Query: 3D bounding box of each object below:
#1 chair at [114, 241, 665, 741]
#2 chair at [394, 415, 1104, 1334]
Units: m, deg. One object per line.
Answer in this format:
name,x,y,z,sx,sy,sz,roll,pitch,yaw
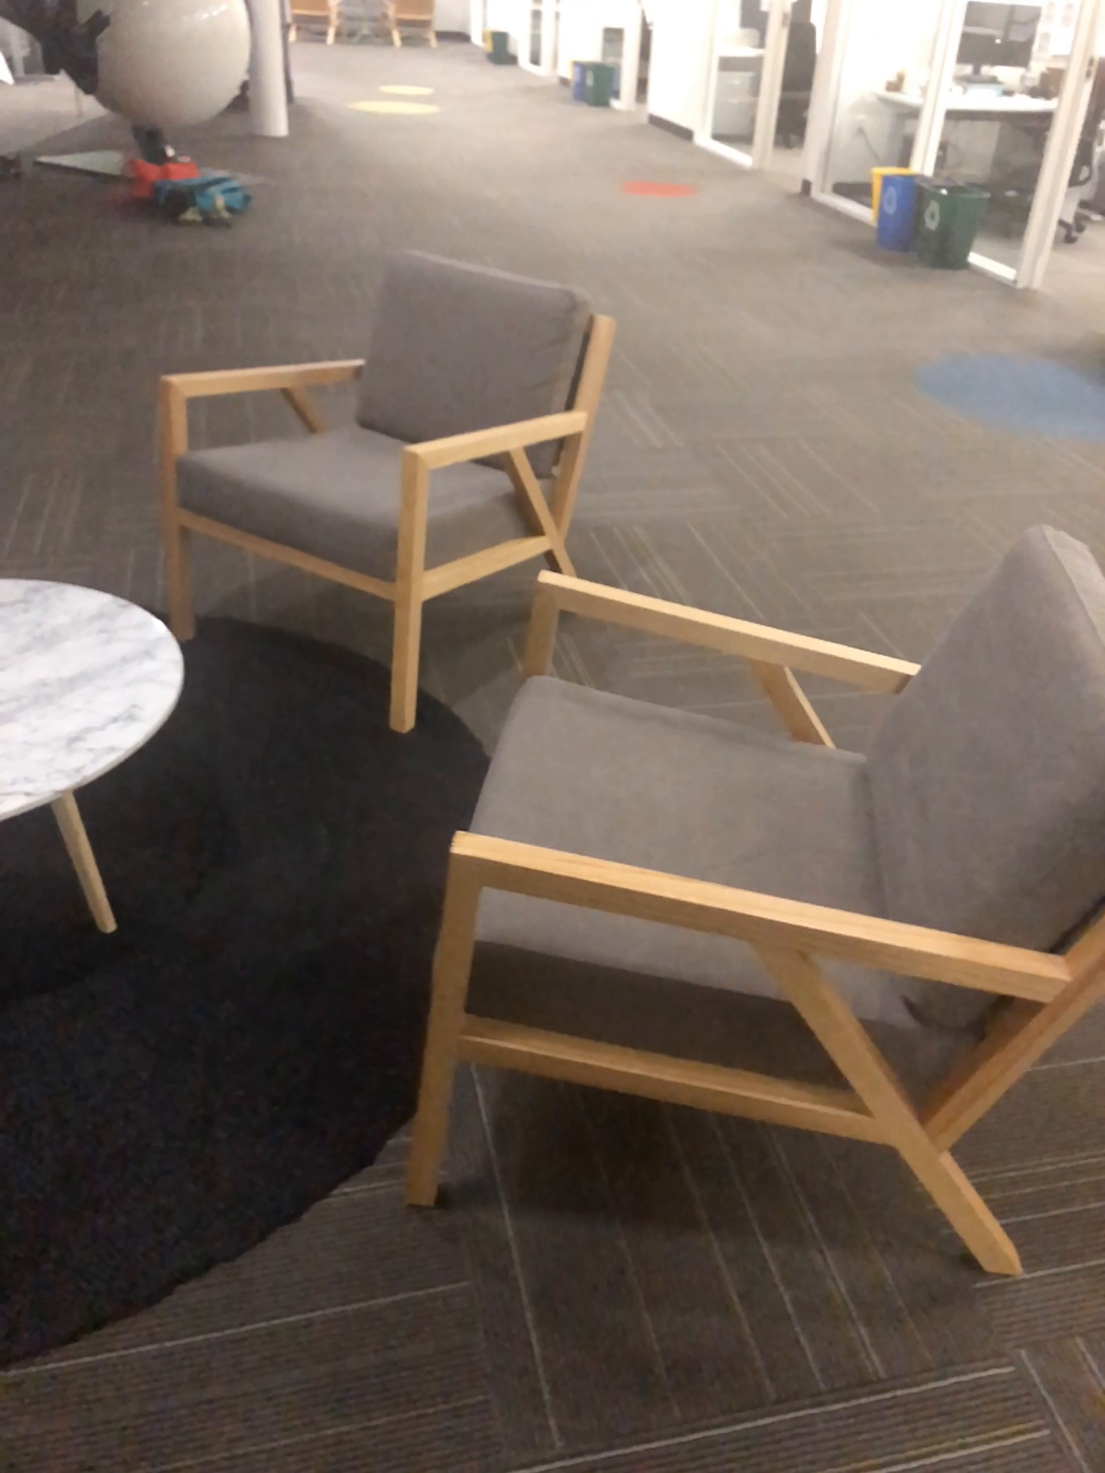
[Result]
chair,-0.325,-0.599,2.644,0.721,0.754,0.876,21,32,26
chair,0.287,0.135,1.570,0.800,0.773,0.727,9,33,3
